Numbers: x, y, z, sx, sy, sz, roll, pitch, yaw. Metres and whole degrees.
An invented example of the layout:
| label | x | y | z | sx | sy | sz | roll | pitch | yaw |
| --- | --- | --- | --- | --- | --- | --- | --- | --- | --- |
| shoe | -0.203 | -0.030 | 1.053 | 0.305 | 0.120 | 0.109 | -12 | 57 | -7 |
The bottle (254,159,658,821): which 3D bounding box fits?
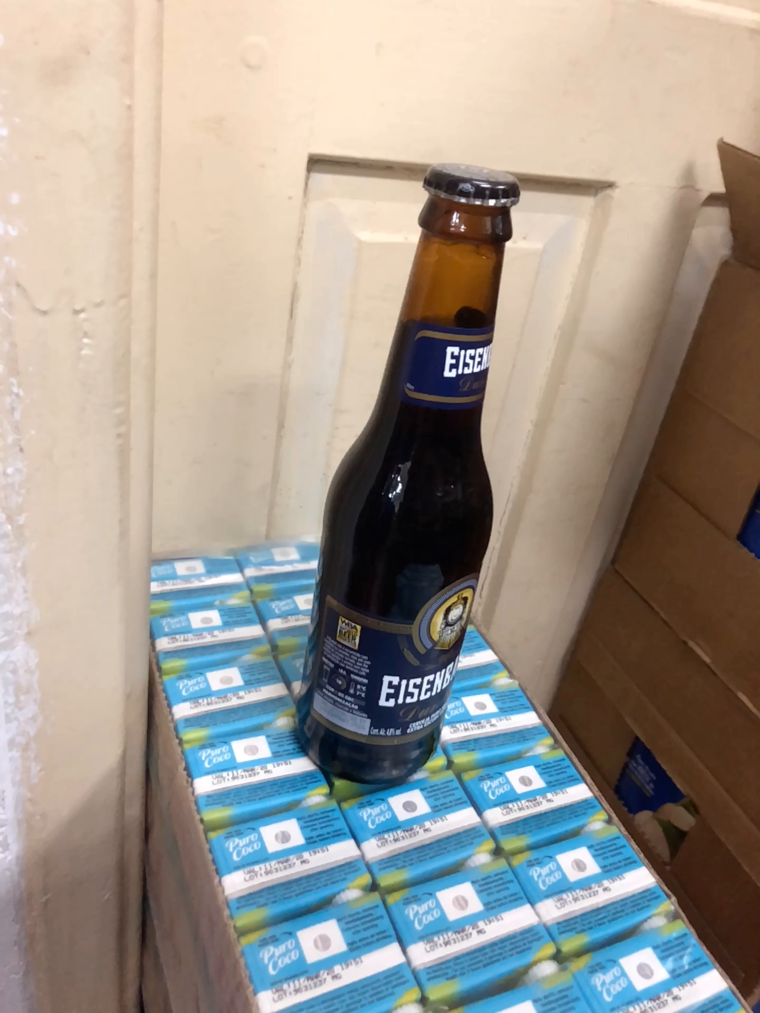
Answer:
| label | x | y | z | sx | sy | sz | roll | pitch | yaw |
| --- | --- | --- | --- | --- | --- | --- | --- | --- | --- |
| bottle | 0.014 | 0.000 | 0.273 | 0.070 | 0.198 | 0.060 | -20 | 43 | -40 |
